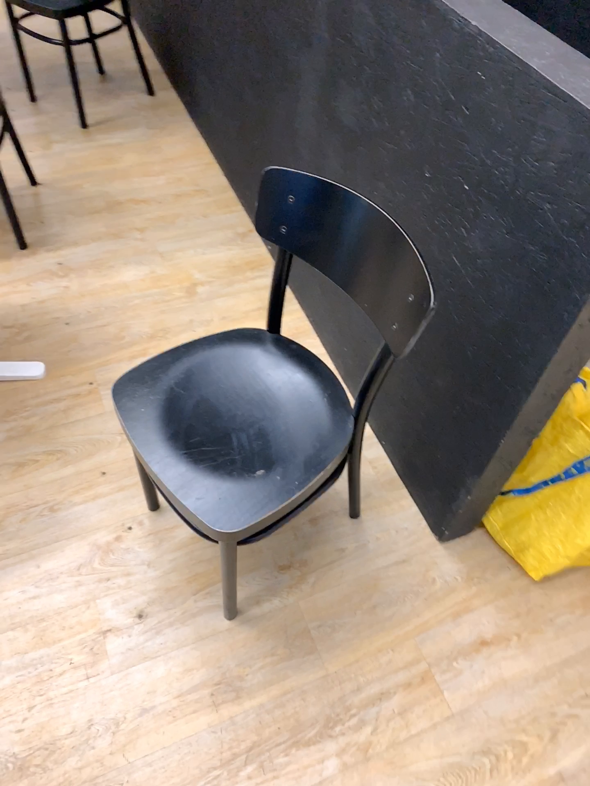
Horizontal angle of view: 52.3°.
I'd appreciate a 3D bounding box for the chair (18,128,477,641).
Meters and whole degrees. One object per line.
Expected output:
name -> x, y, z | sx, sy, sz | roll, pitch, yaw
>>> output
chair -> -0.089, 0.015, 1.078 | 0.440, 0.698, 0.441 | -31, 60, -27
